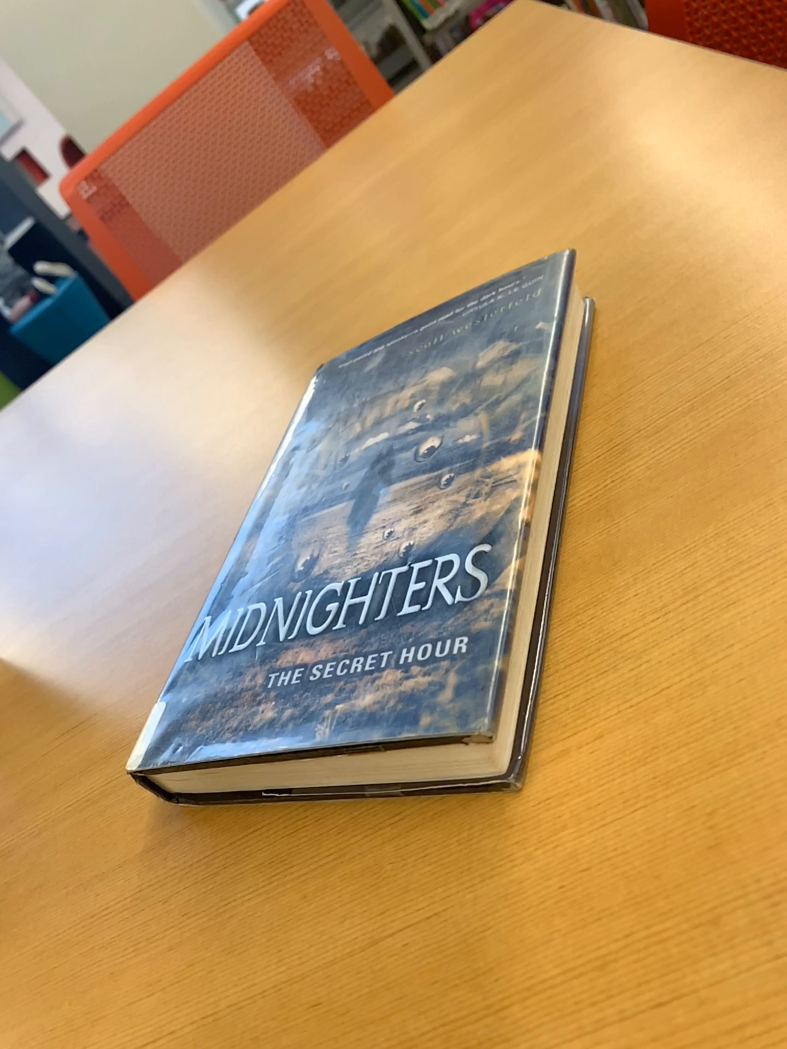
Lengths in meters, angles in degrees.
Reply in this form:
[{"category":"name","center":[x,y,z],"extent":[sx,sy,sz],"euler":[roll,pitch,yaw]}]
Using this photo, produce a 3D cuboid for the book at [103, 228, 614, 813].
[{"category":"book","center":[-0.003,-0.007,0.309],"extent":[0.152,0.035,0.220],"euler":[-16,41,35]}]
